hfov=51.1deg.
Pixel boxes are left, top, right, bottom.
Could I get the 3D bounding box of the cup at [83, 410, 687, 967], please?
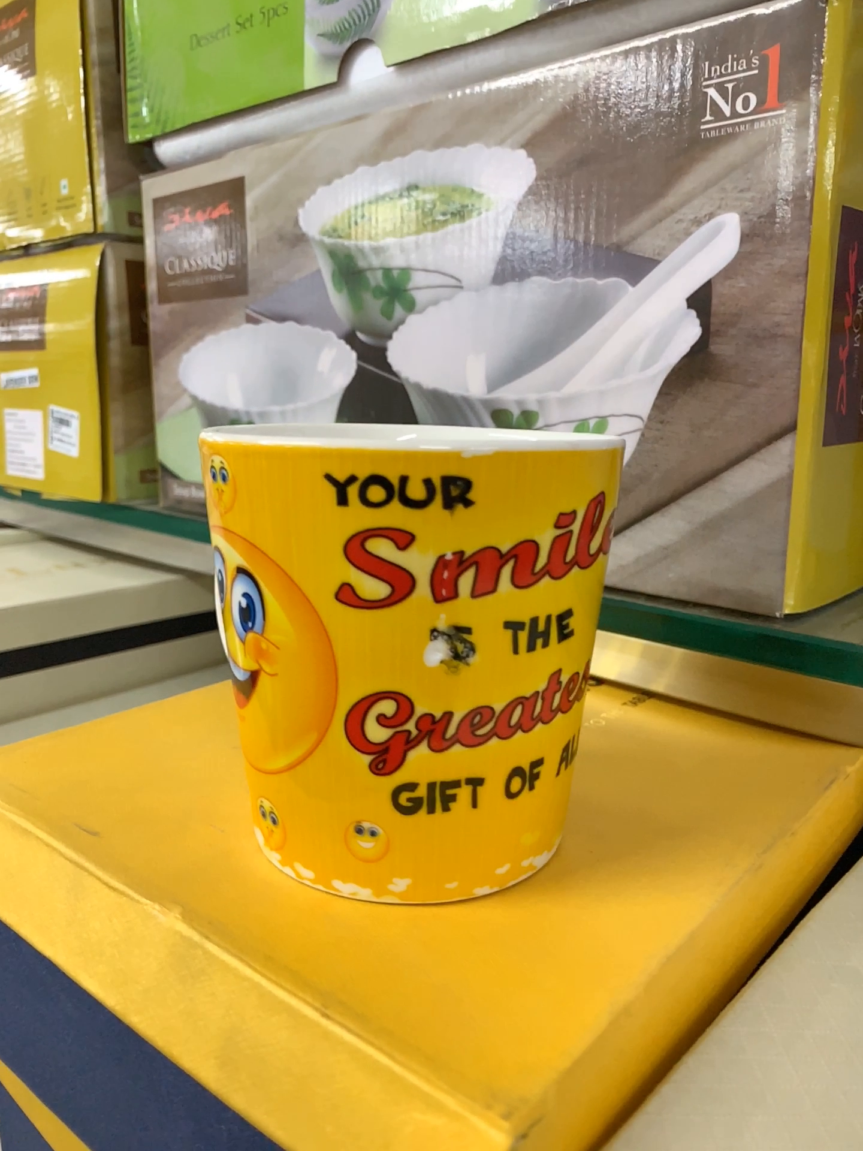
[{"bbox_3d":[-0.017,0.007,0.201,0.072,0.081,0.119,-10,16,-39],"label":"cup"}]
